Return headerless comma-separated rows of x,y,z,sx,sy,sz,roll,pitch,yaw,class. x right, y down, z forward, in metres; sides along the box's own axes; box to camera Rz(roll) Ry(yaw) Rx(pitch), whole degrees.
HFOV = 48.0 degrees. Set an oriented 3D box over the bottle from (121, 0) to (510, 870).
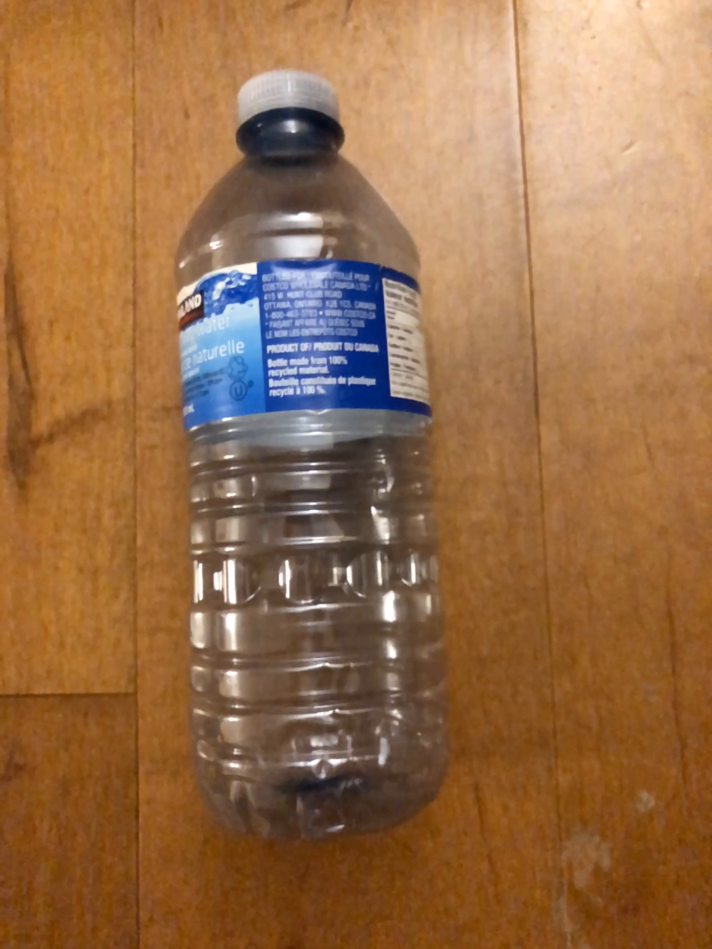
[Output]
-0.016,-0.016,0.218,0.070,0.070,0.200,2,81,-35,bottle
